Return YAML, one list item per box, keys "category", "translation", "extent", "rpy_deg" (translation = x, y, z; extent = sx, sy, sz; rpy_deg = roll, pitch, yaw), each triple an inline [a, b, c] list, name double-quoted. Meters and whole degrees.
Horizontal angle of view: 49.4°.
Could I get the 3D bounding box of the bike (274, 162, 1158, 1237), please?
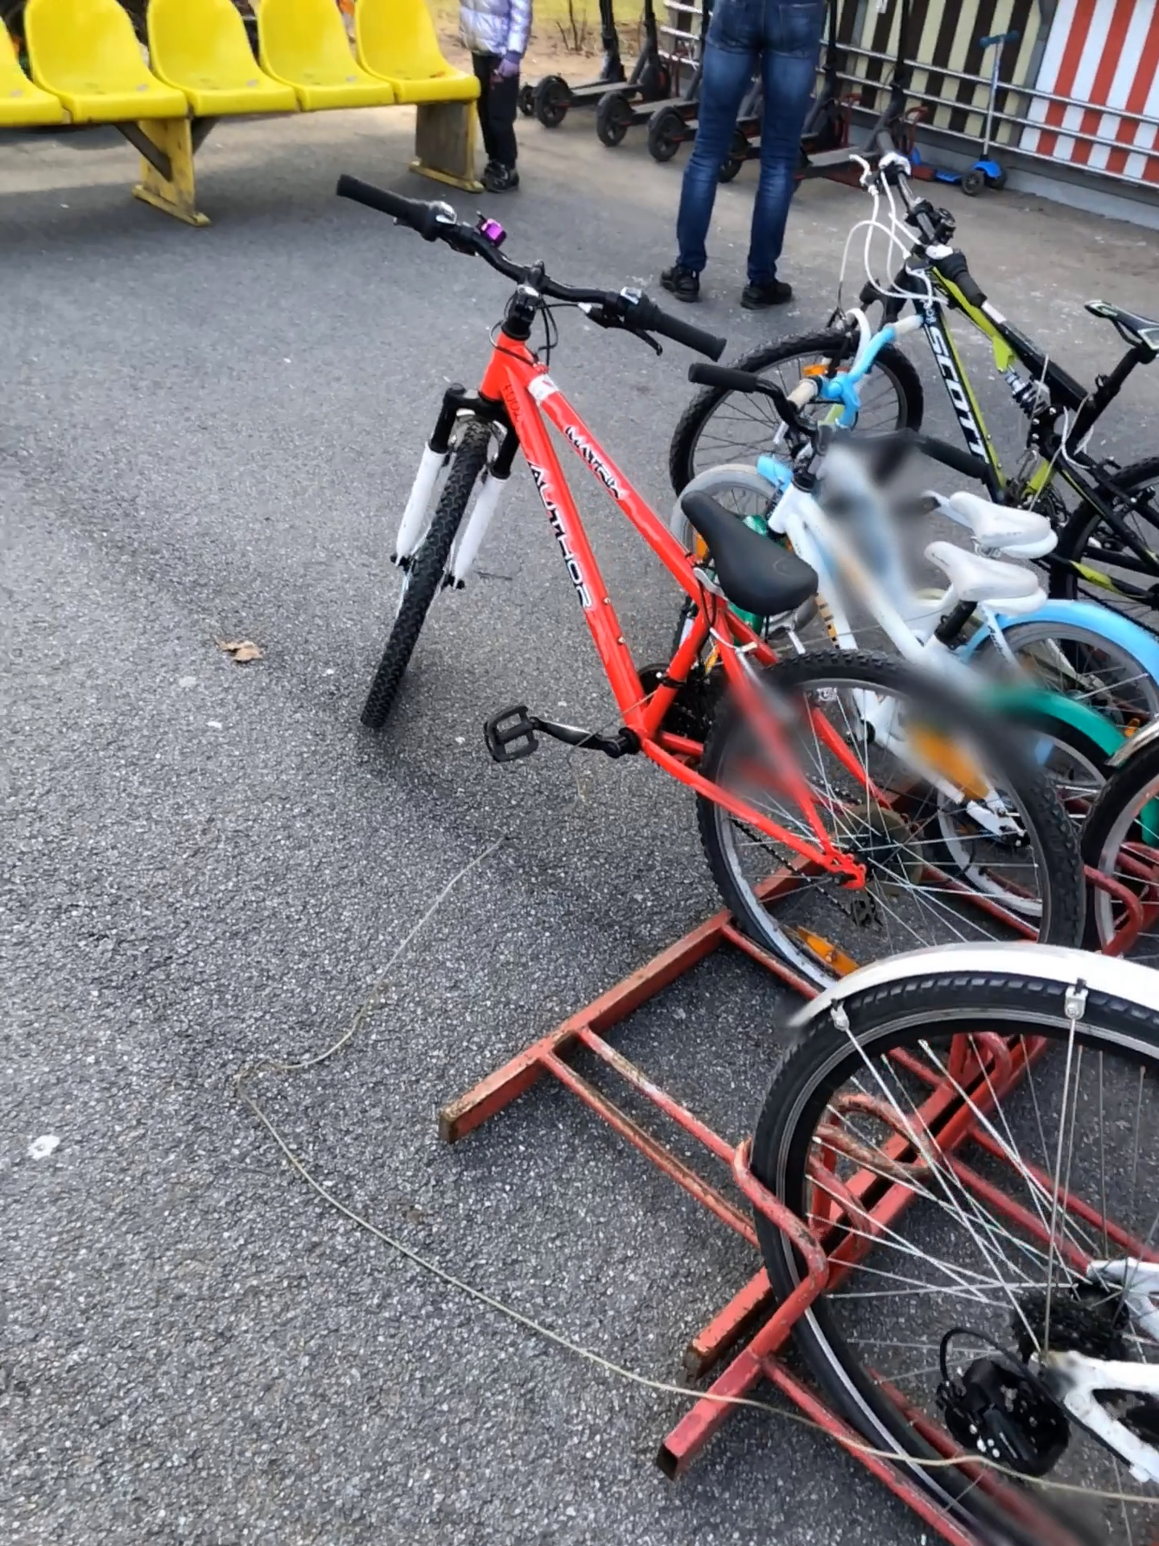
- category: "bike"
  translation: [0.142, -0.249, 1.873]
  extent: [0.552, 0.908, 1.448]
  rpy_deg: [-22, 44, -31]
